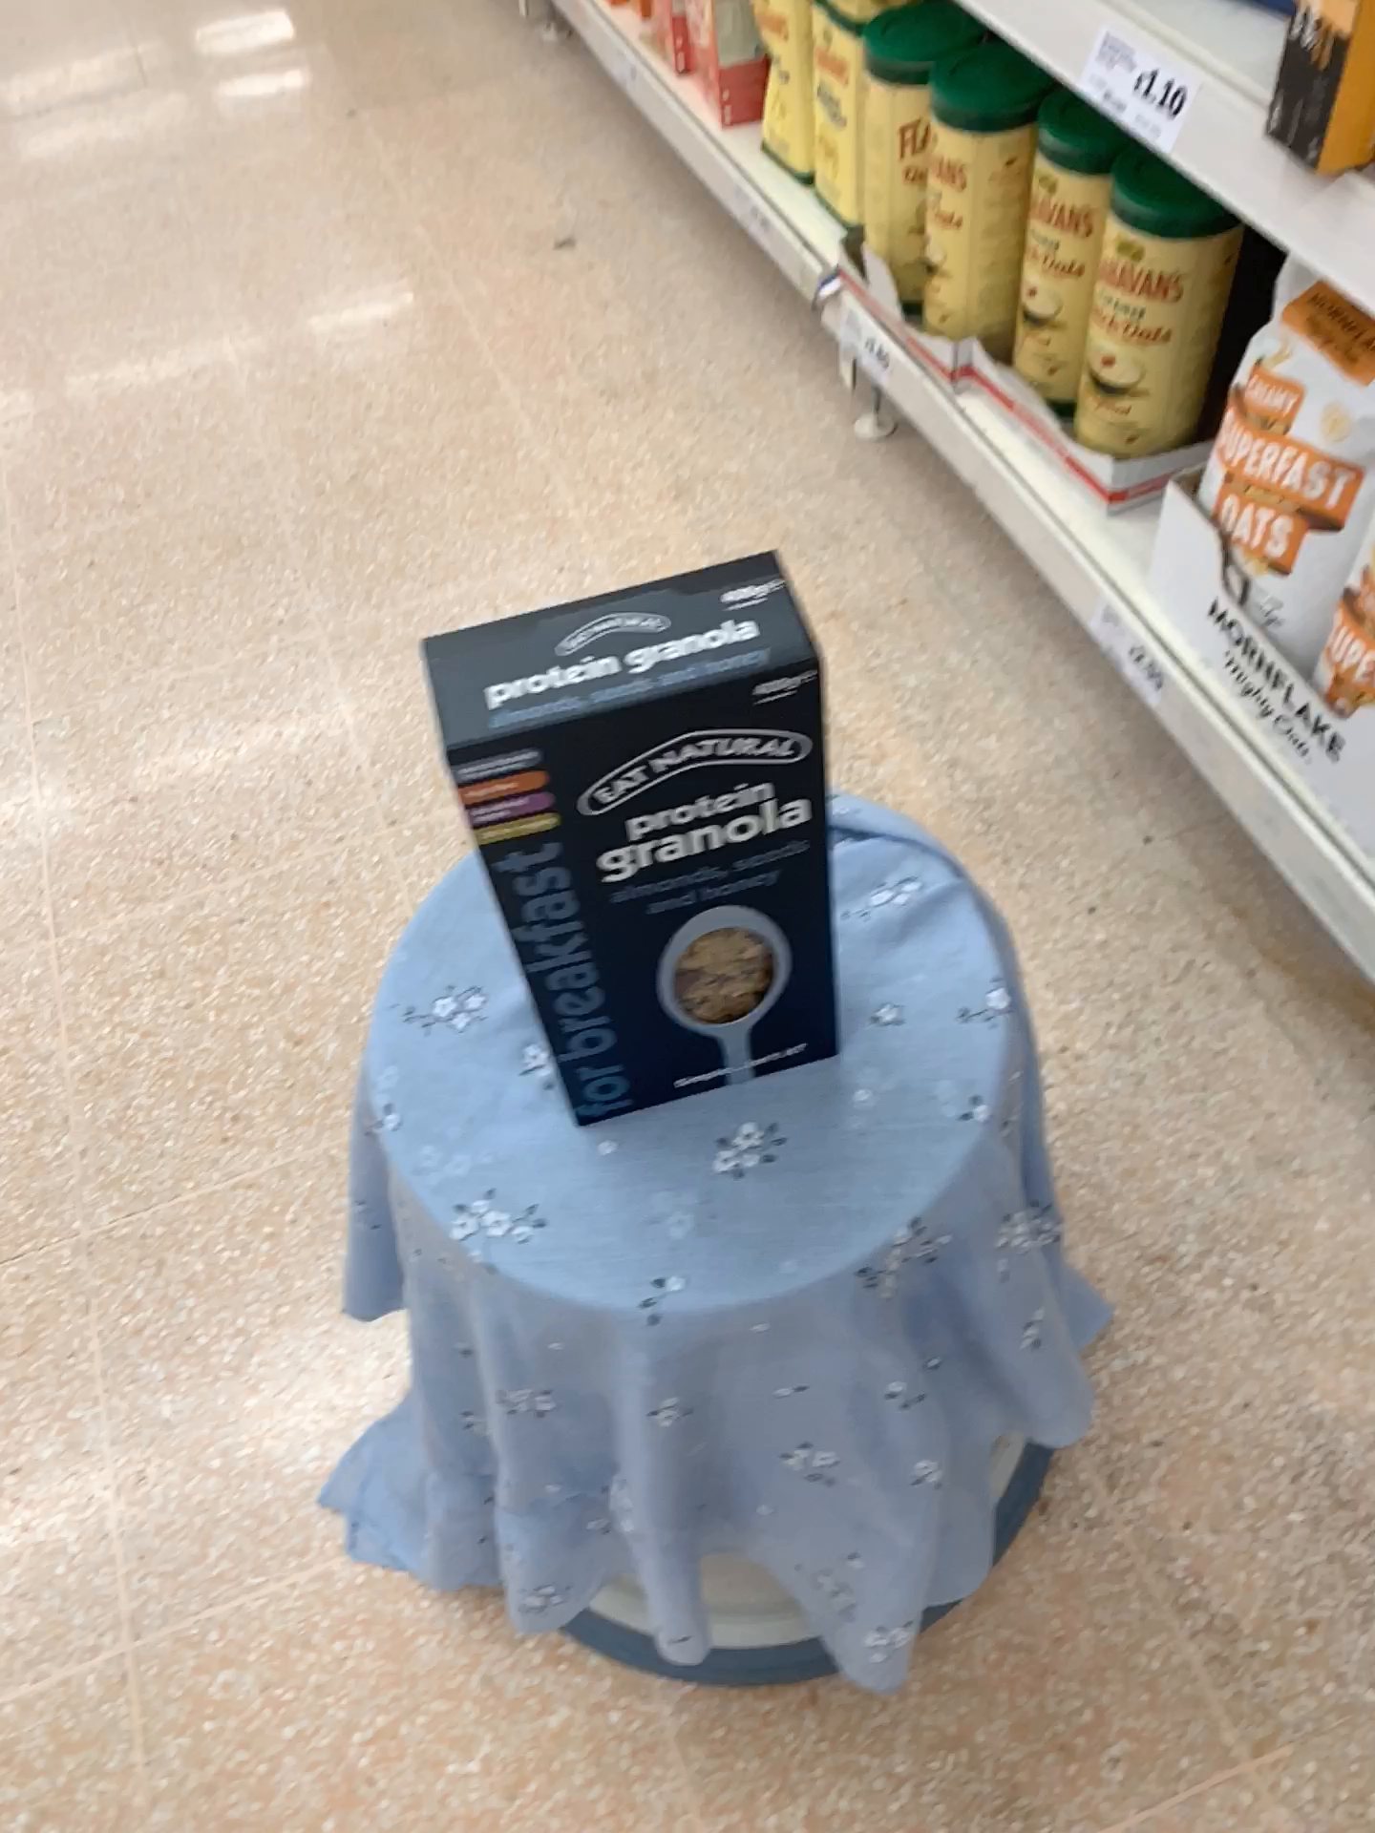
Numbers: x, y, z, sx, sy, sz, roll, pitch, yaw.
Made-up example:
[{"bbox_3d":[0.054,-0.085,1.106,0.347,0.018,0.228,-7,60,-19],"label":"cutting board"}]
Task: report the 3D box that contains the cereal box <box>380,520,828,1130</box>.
[{"bbox_3d":[-0.020,-0.020,0.545,0.130,0.238,0.071,-15,54,-5],"label":"cereal box"}]
